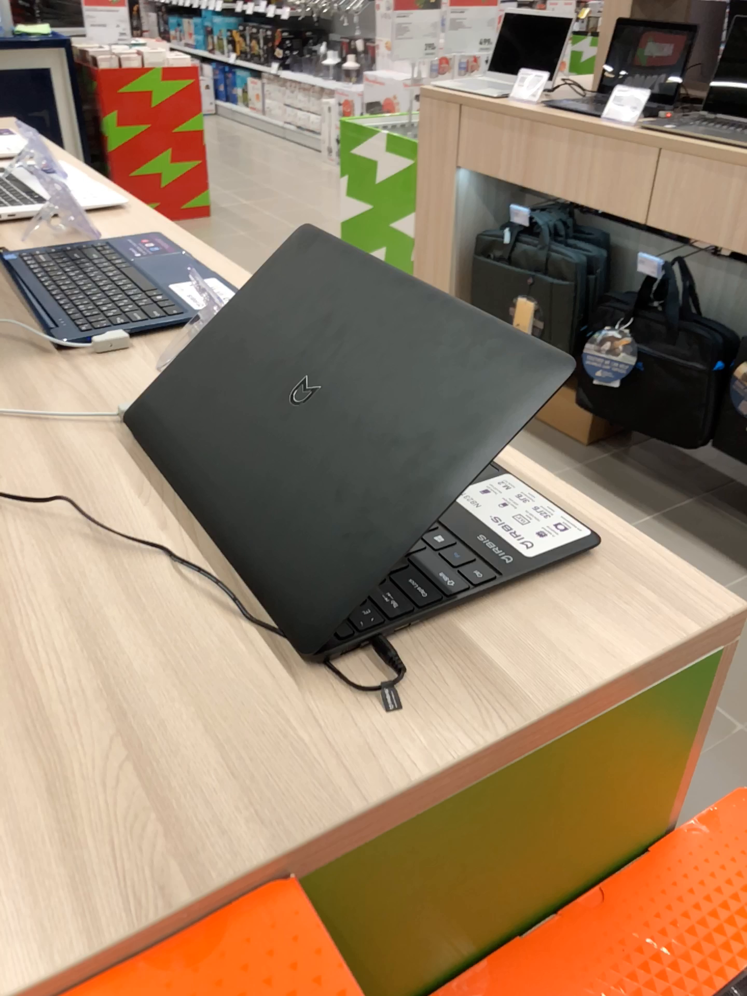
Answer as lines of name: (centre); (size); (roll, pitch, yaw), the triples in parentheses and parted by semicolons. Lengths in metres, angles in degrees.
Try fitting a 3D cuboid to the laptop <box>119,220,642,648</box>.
laptop: (-0.016, -0.074, 0.553); (0.203, 0.132, 0.300); (-17, 37, -27)
